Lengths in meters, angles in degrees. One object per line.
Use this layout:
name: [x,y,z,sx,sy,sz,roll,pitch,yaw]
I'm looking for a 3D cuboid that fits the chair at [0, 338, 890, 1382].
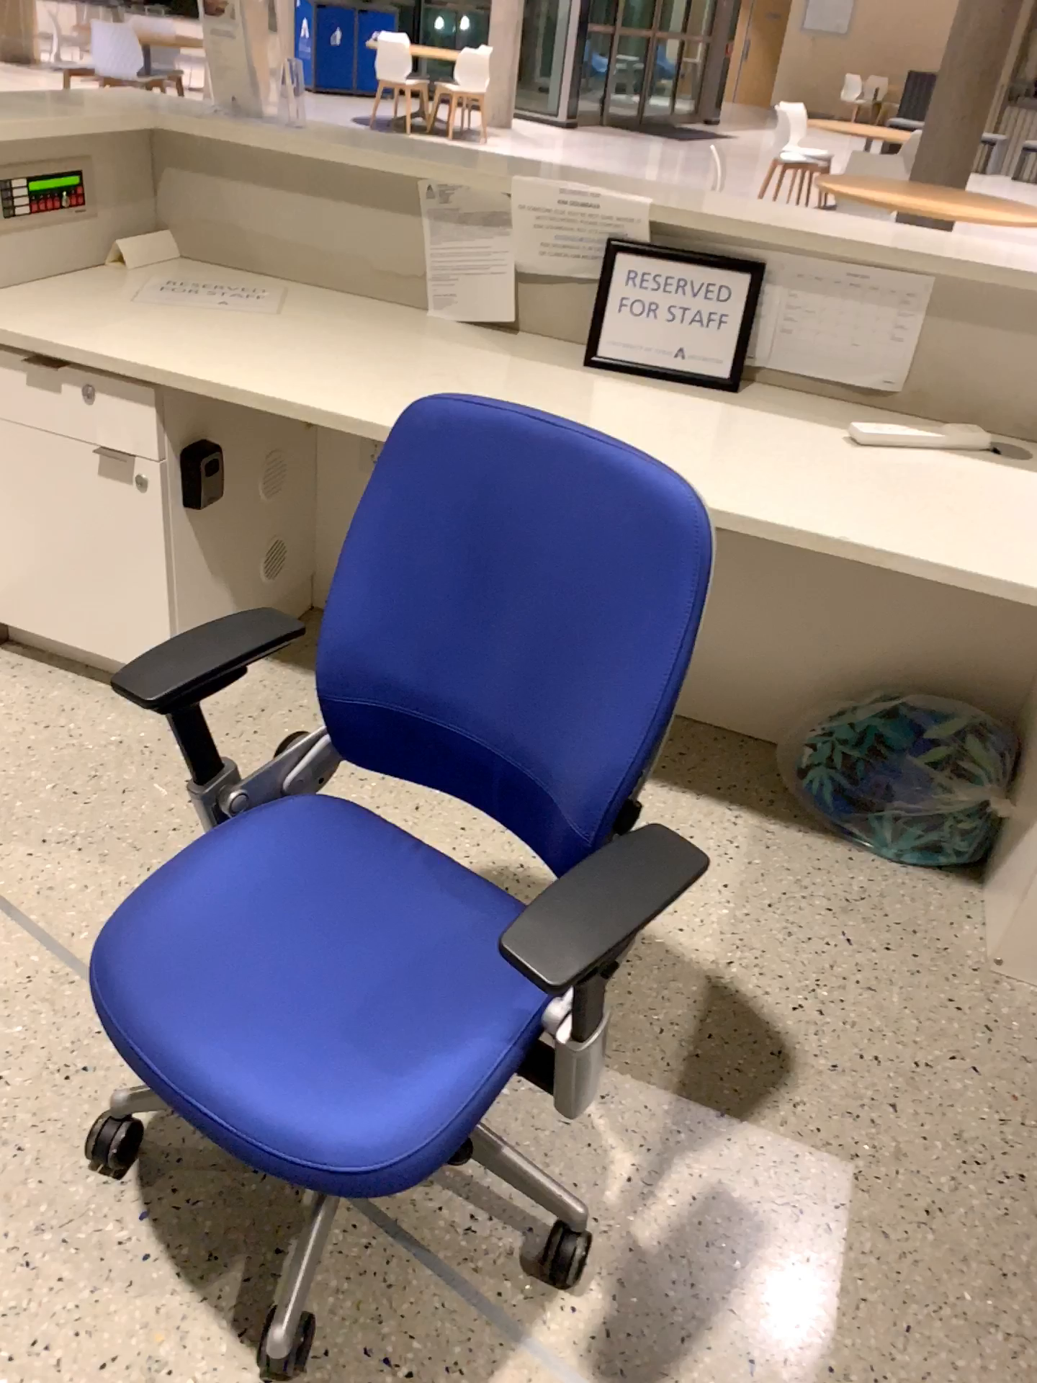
chair: [-0.166,0.199,1.175,0.699,0.906,0.608,28,37,28]
